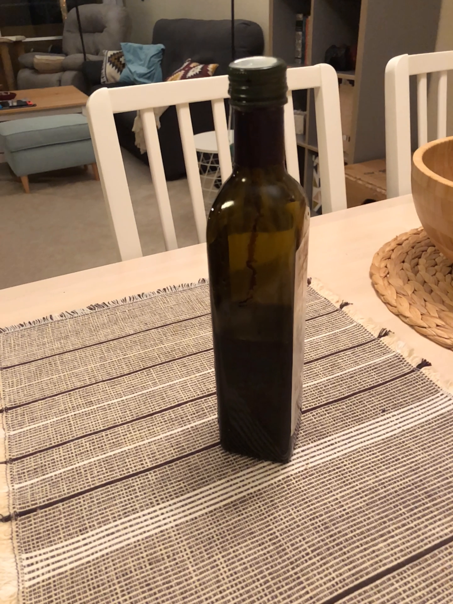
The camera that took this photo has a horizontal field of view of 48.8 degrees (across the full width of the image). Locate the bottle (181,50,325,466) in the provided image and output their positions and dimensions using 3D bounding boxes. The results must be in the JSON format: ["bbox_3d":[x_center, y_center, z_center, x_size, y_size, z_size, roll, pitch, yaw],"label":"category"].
[{"bbox_3d":[0.021,-0.015,0.323,0.060,0.261,0.060,-2,30,1],"label":"bottle"}]
